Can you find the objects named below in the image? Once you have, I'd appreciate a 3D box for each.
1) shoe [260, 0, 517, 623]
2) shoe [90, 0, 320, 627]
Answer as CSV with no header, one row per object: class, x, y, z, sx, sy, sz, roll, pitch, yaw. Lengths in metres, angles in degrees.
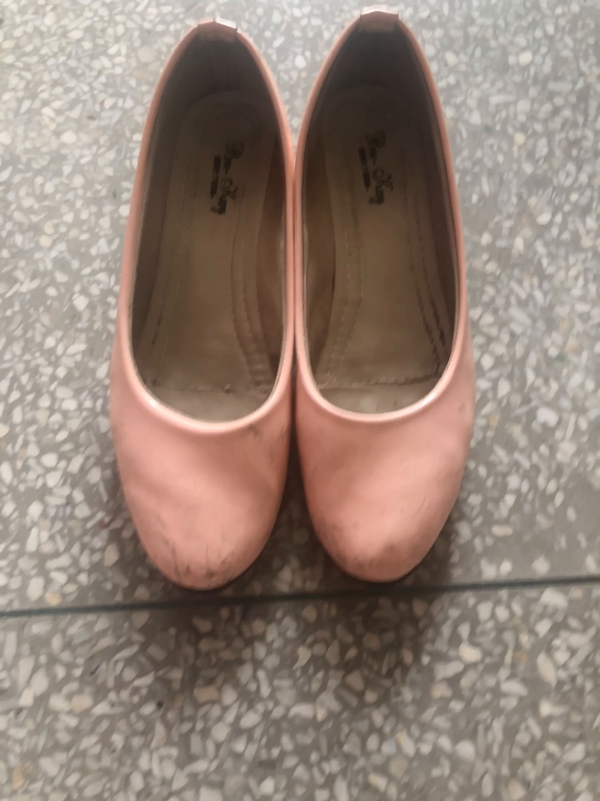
shoe,0.031,-0.043,0.294,0.090,0.070,0.260,0,79,1
shoe,-0.037,-0.040,0.303,0.090,0.070,0.260,0,87,1
